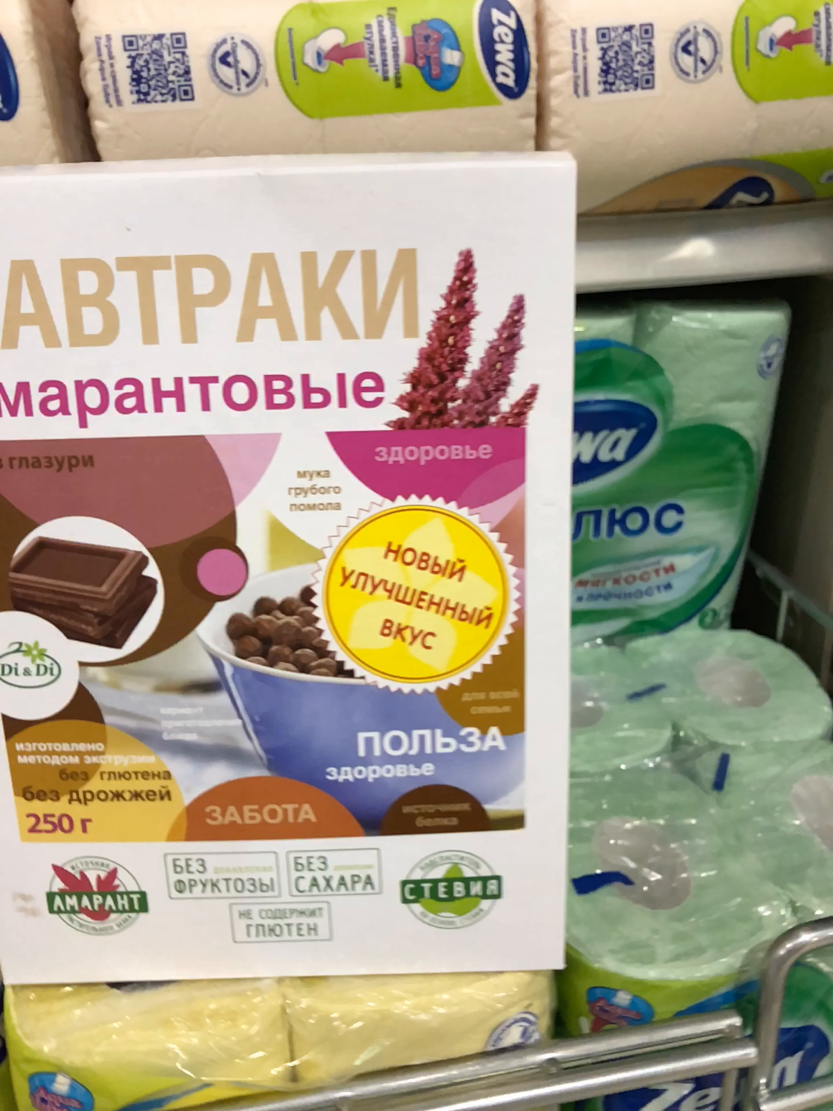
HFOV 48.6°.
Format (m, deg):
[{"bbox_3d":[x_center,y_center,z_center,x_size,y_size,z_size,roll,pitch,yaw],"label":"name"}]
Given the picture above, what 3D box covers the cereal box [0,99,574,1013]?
[{"bbox_3d":[-0.049,0.011,0.295,0.190,0.269,0.050,-3,15,0],"label":"cereal box"}]
